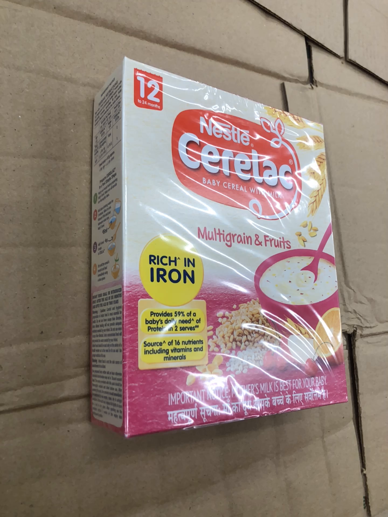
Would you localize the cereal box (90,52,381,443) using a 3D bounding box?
[{"bbox_3d":[0.027,-0.002,0.248,0.161,0.050,0.170,4,79,-32],"label":"cereal box"}]
